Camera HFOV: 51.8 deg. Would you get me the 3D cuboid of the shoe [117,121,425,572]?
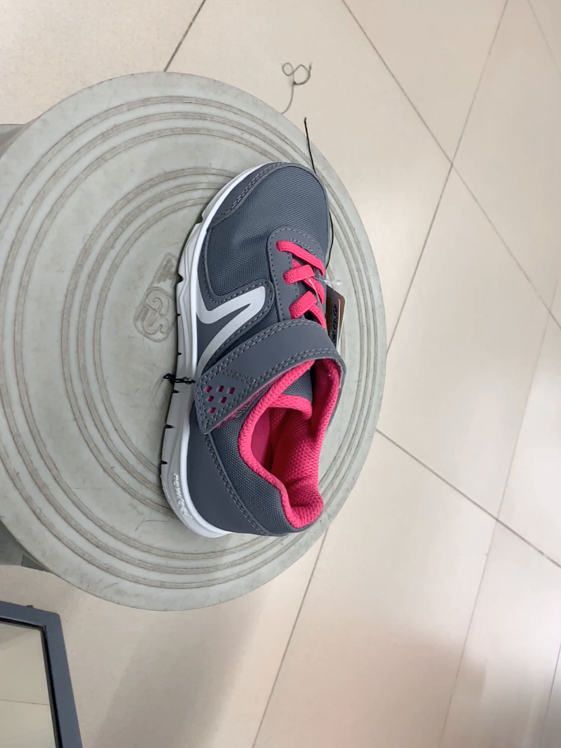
[{"bbox_3d":[-0.004,-0.008,0.267,0.070,0.090,0.170,18,80,-42],"label":"shoe"}]
